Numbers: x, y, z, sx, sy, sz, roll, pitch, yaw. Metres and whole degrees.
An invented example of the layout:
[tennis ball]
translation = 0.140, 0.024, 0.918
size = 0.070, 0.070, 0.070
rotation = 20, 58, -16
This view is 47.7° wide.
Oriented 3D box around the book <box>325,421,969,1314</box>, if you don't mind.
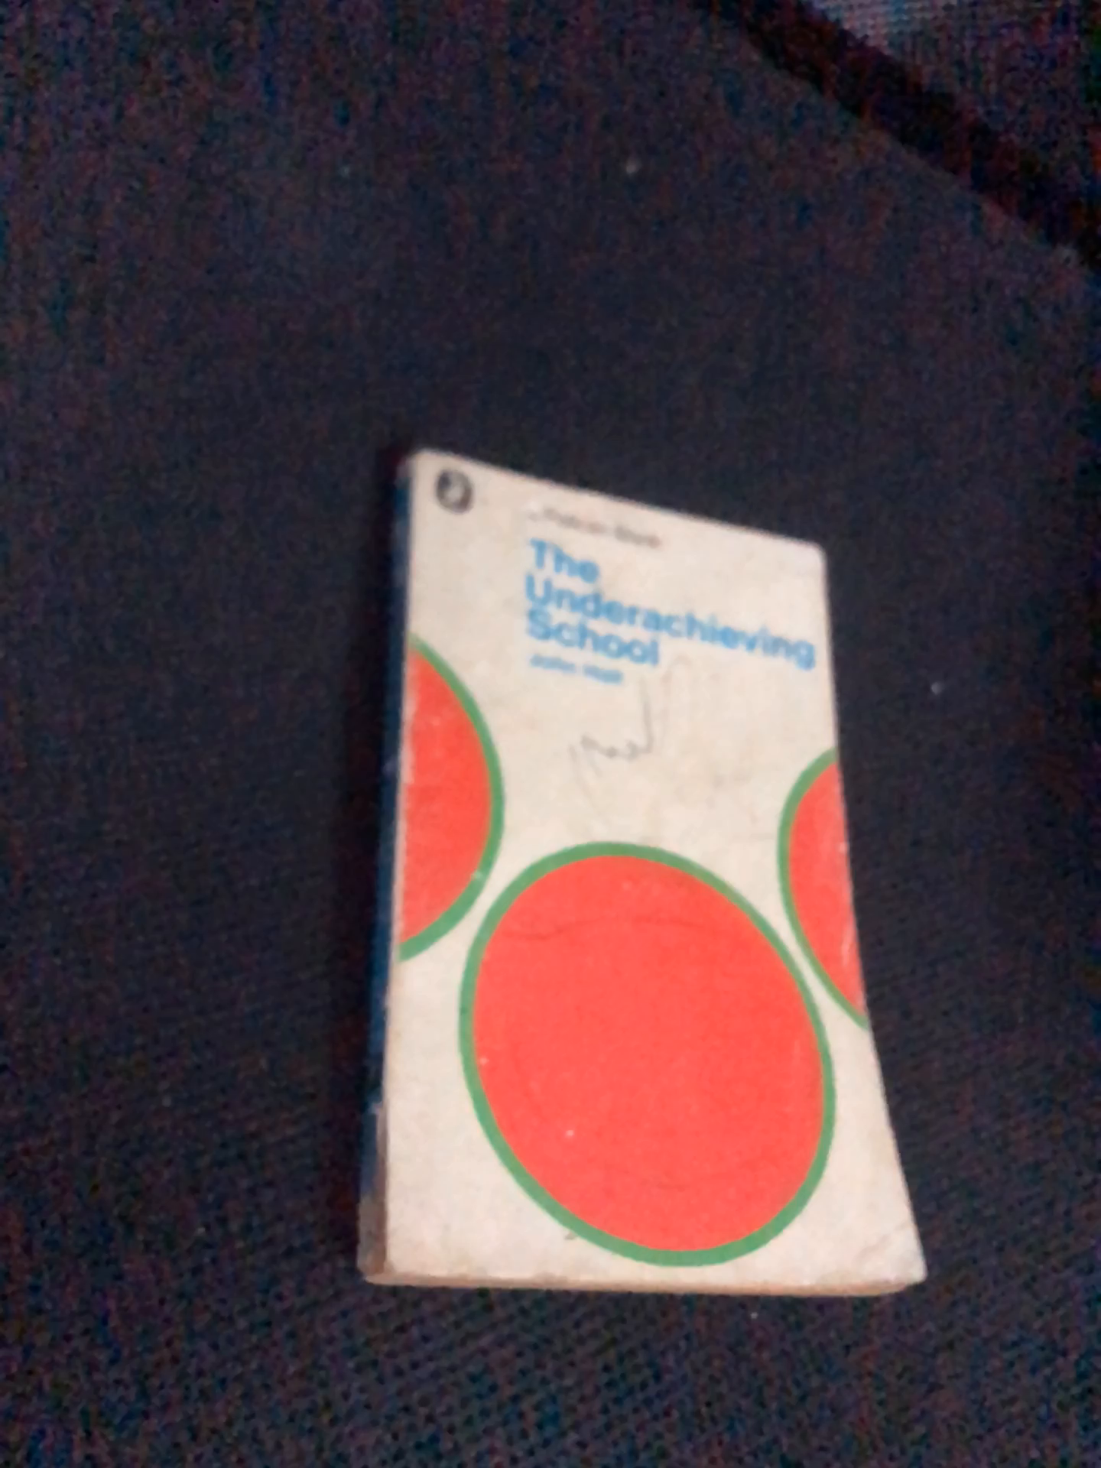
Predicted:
[book]
translation = 0.019, 0.024, 0.268
size = 0.120, 0.020, 0.182
rotation = 11, 59, -21
